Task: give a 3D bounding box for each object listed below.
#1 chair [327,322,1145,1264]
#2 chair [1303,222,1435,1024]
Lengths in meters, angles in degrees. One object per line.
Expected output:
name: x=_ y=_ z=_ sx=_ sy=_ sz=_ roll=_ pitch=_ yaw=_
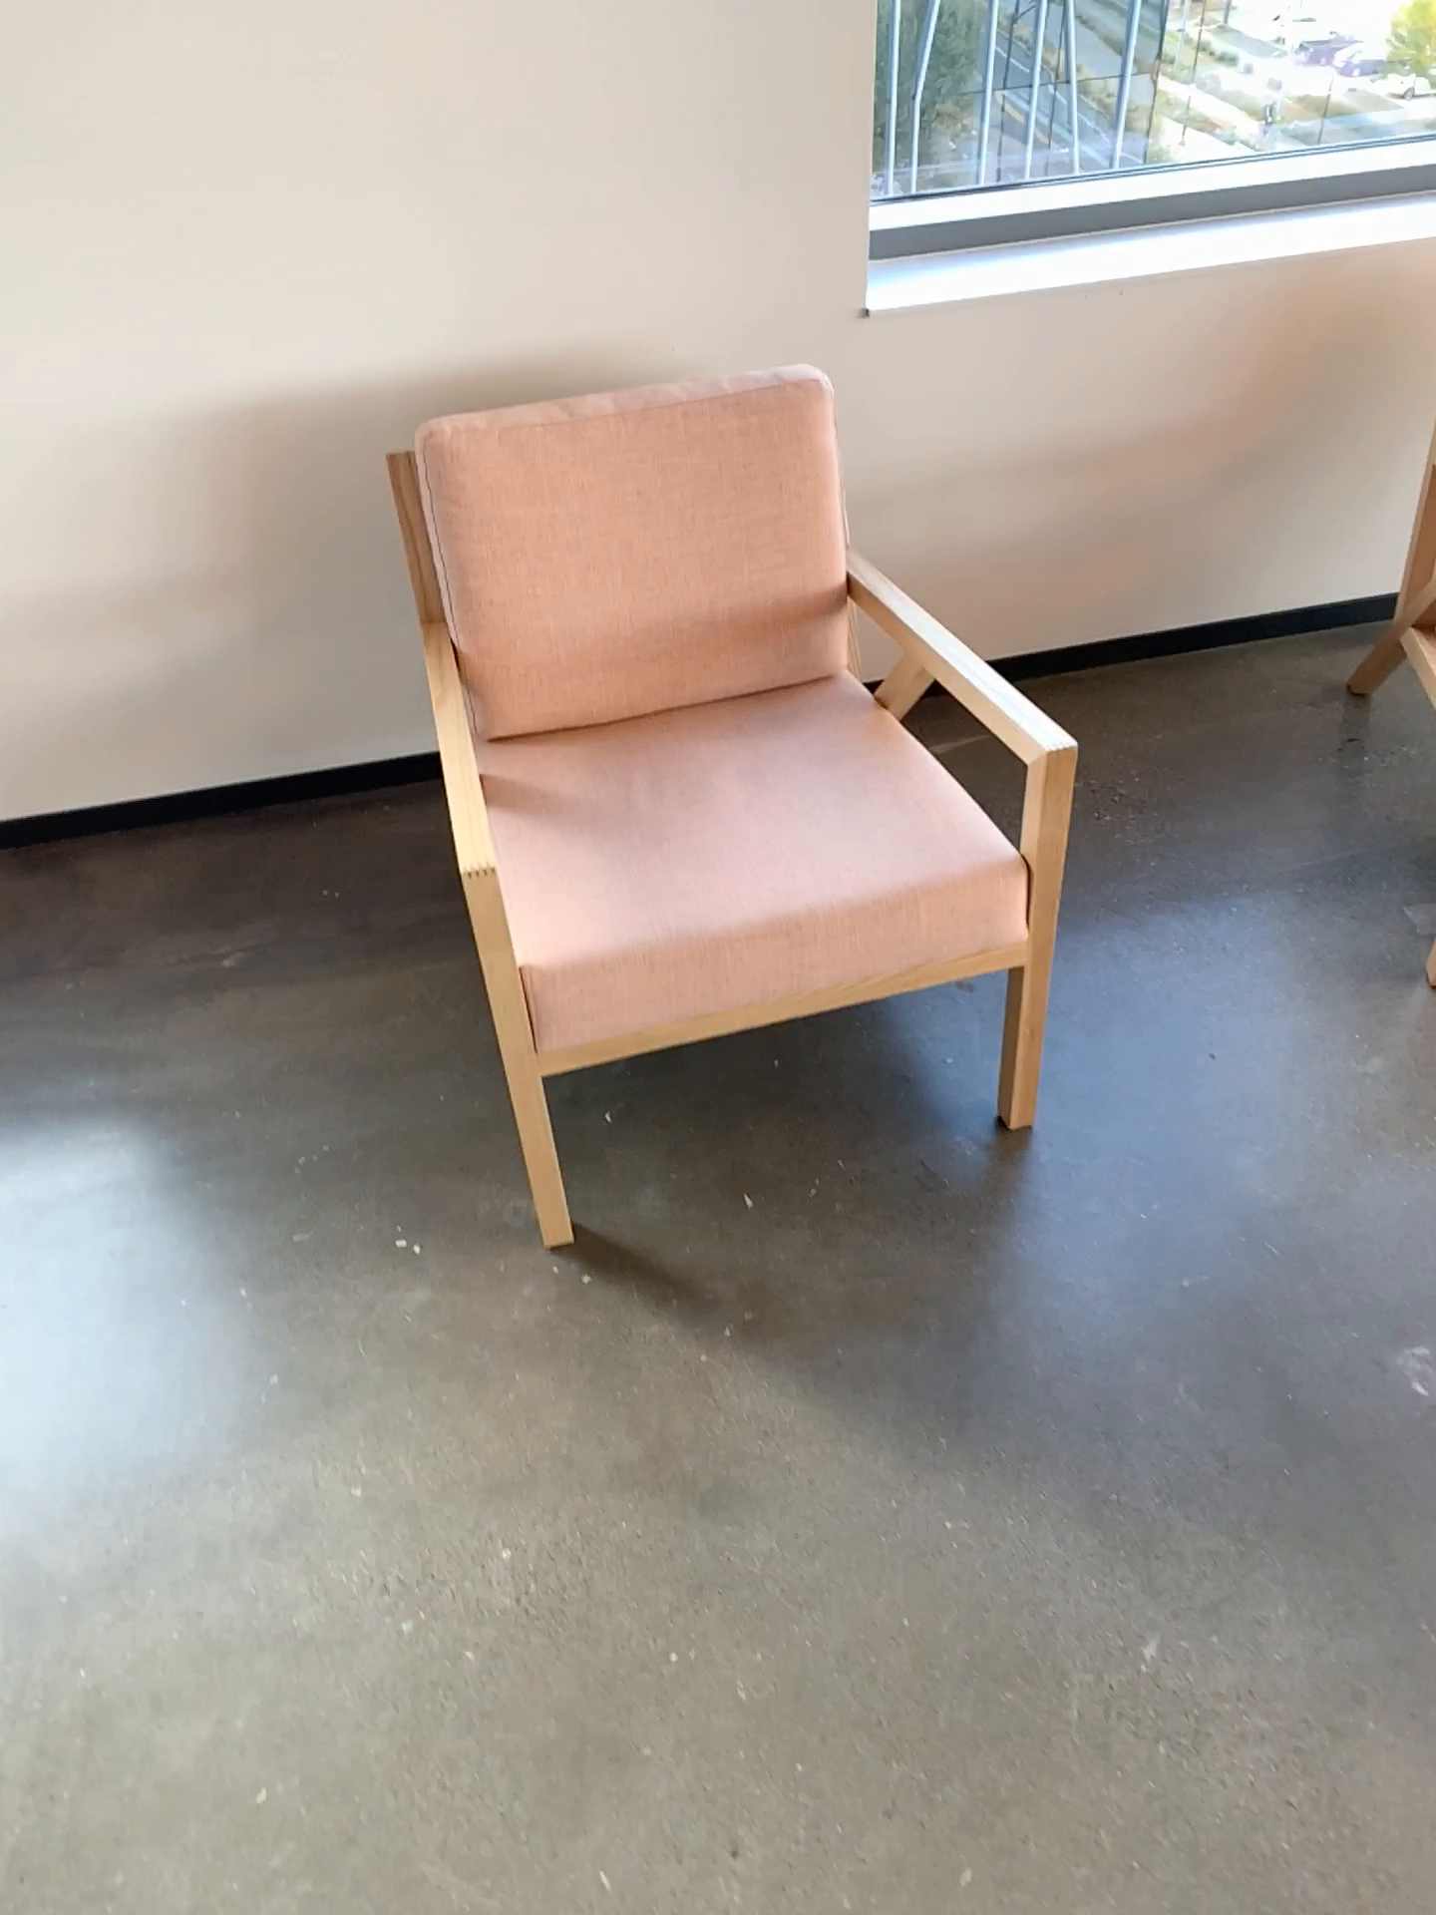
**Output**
chair: x=-0.026 y=-0.230 z=1.897 sx=0.740 sy=0.796 sz=0.775 roll=-11 pitch=44 yaw=-8
chair: x=1.365 y=-0.484 z=2.050 sx=0.740 sy=0.796 sz=0.774 roll=3 pitch=42 yaw=7
